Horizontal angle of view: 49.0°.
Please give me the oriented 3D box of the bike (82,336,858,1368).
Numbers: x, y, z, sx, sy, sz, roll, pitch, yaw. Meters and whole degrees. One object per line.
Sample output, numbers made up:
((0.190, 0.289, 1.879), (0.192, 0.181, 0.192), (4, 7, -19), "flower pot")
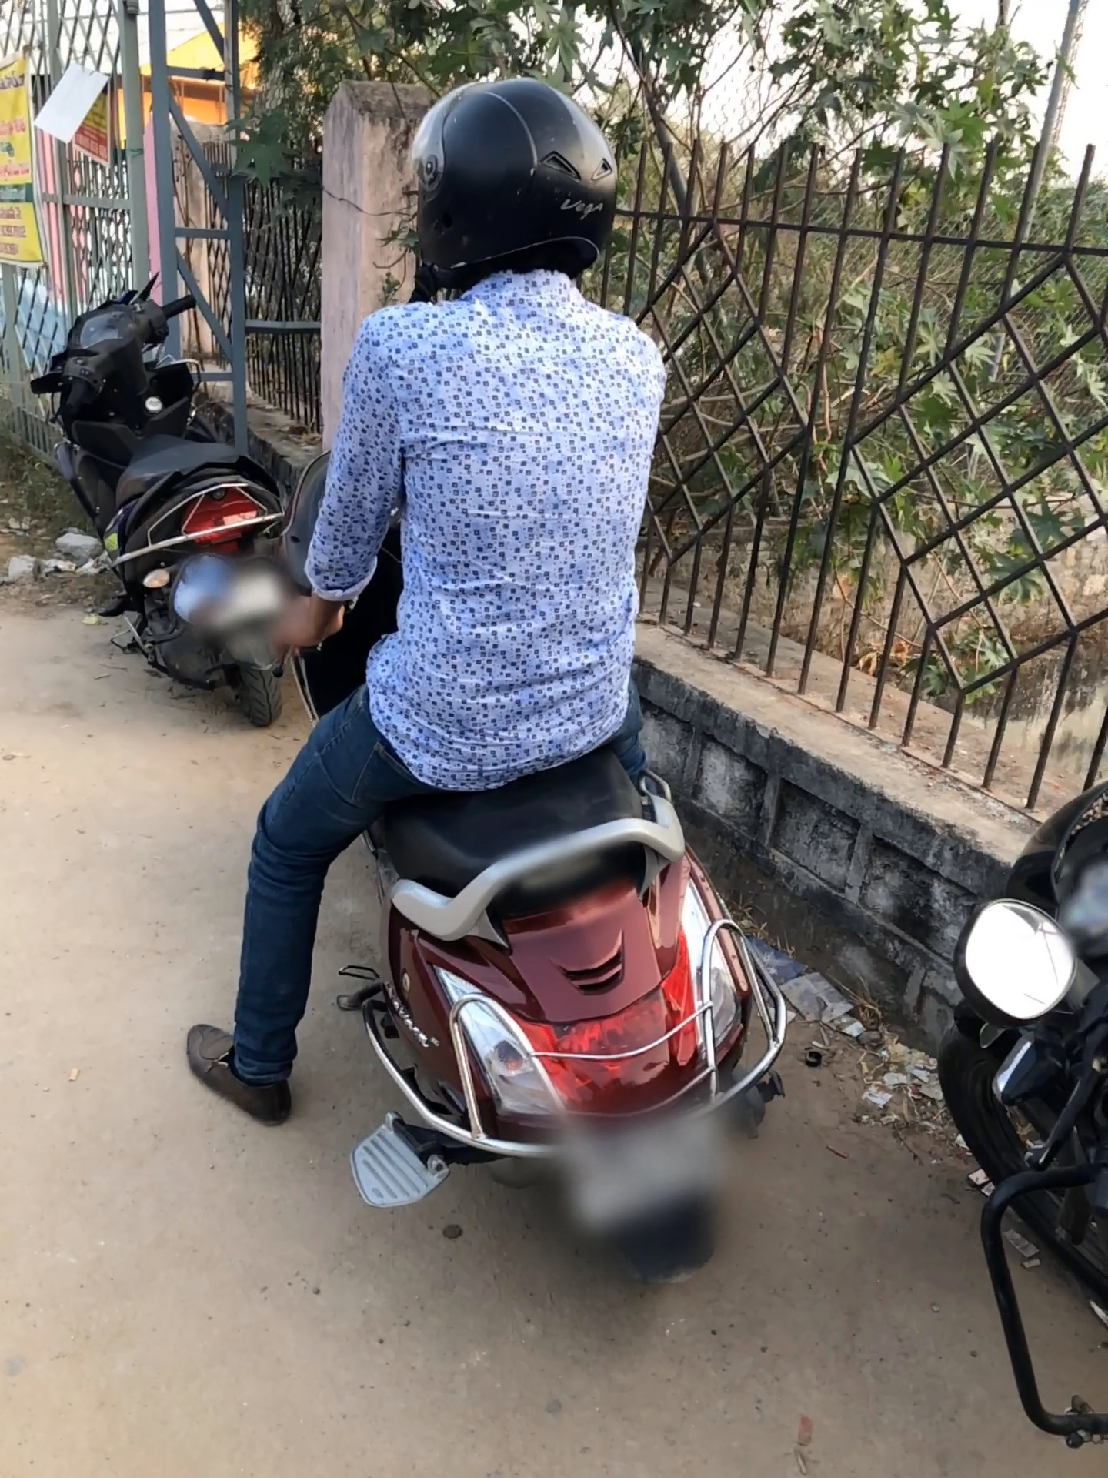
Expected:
((-0.321, -0.014, 1.974), (0.577, 0.963, 1.493), (-6, 27, -25), "bike")
